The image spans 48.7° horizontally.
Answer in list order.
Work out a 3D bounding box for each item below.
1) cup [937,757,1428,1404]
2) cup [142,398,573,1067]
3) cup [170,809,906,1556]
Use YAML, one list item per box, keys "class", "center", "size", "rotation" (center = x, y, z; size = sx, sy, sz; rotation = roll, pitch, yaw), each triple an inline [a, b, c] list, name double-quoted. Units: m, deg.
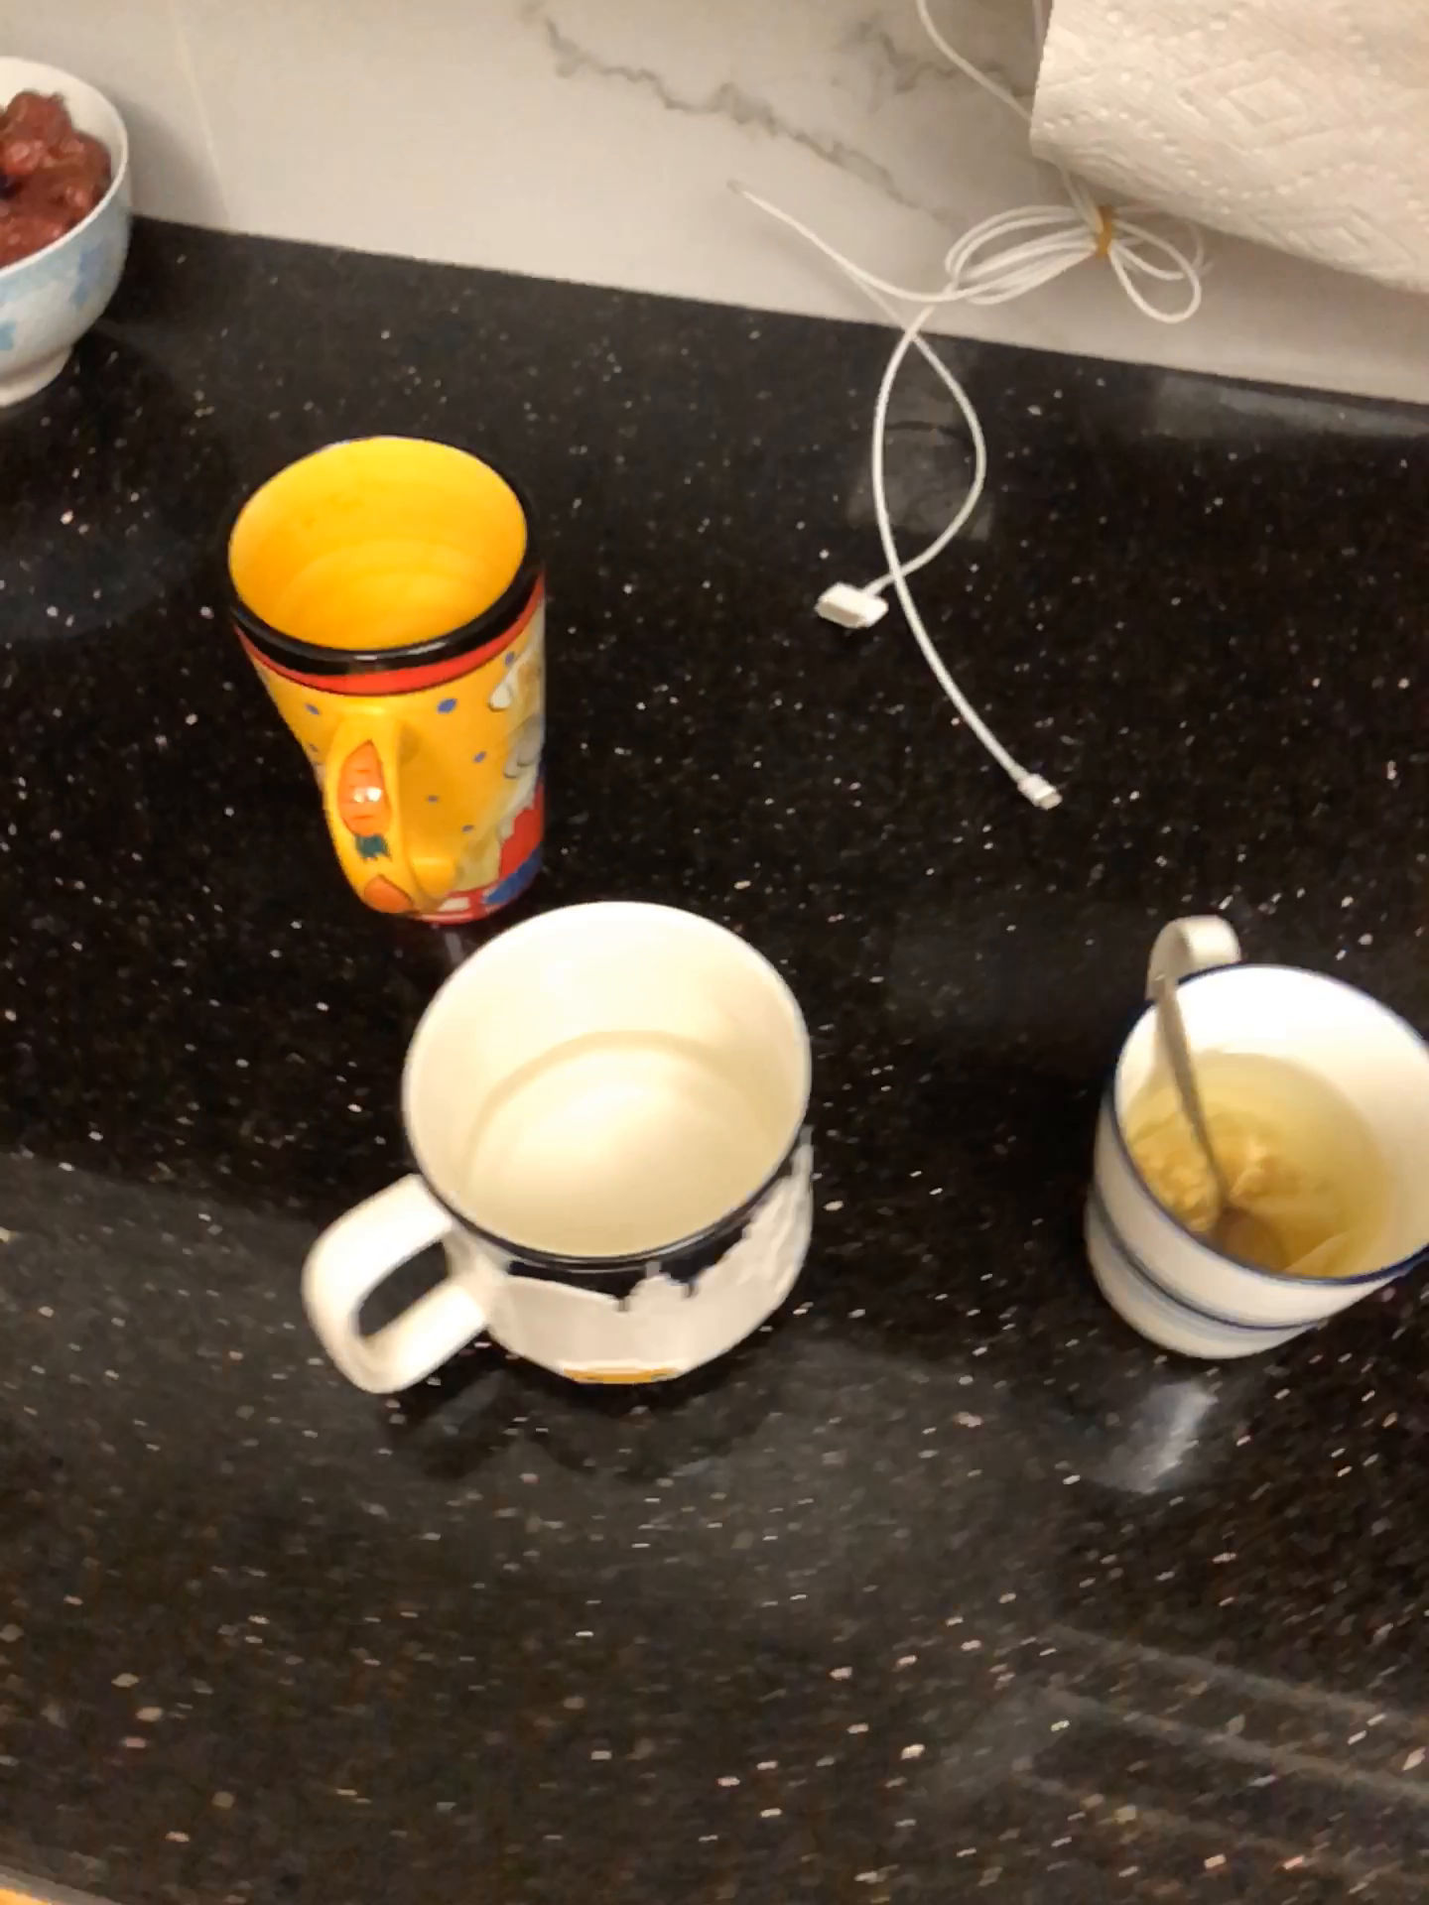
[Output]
- class: "cup"
  center: [0.124, 0.033, 0.415]
  size: [0.090, 0.090, 0.130]
  rotation: [-9, 57, -5]
- class: "cup"
  center: [-0.092, -0.061, 0.463]
  size: [0.090, 0.129, 0.141]
  rotation: [-3, 57, -1]
- class: "cup"
  center: [-0.042, 0.059, 0.420]
  size: [0.140, 0.090, 0.110]
  rotation: [-36, 64, -21]
